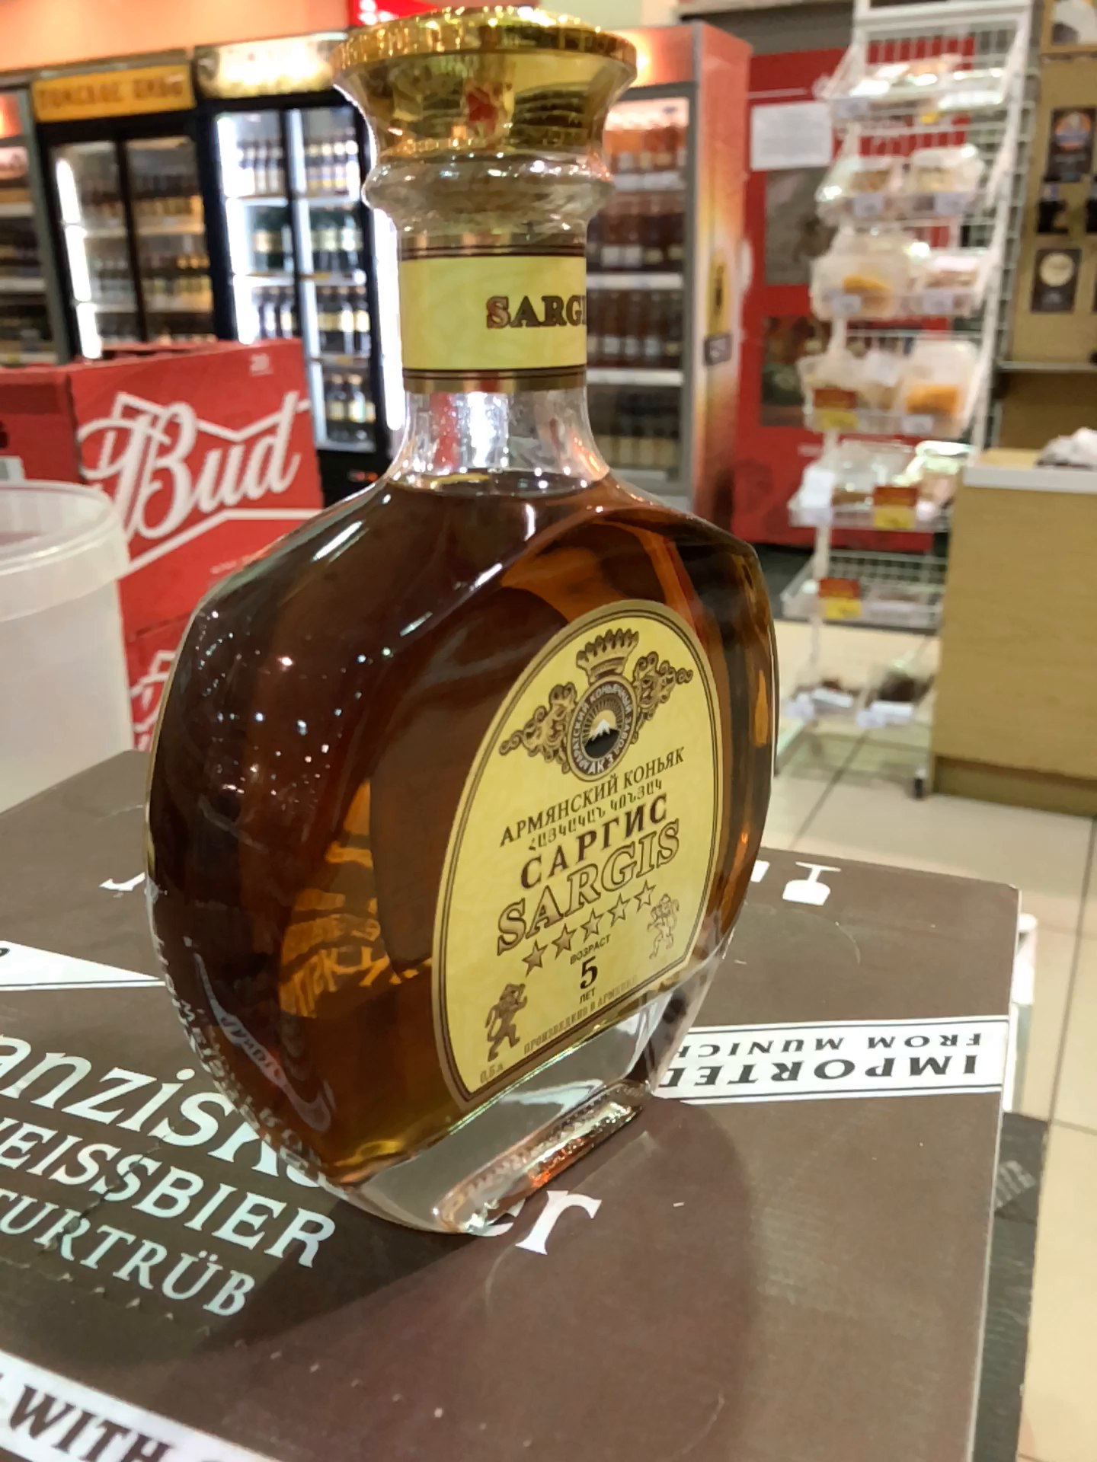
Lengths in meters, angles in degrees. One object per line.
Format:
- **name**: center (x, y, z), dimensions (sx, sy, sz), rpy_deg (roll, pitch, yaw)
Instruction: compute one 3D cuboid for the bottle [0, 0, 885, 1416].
- **bottle**: center (-0.007, -0.012, 0.236), dimensions (0.070, 0.209, 0.141), rpy_deg (16, 26, 38)
